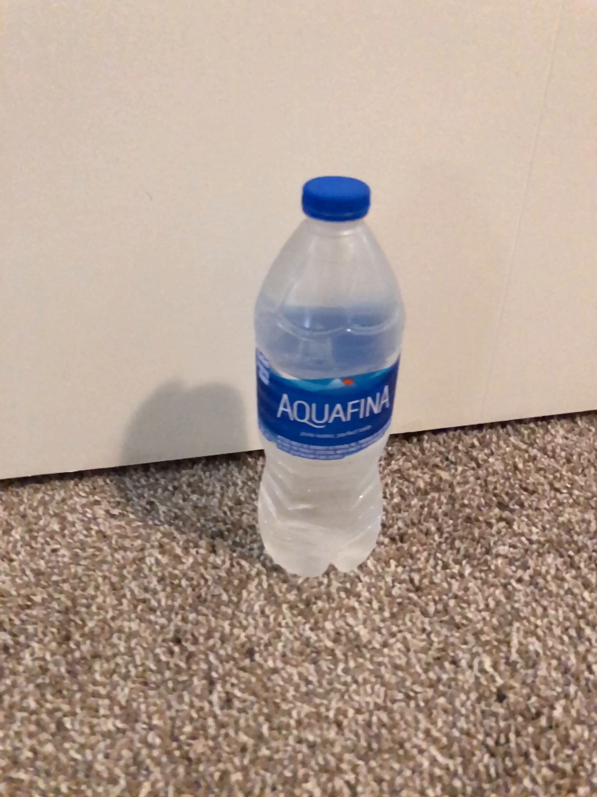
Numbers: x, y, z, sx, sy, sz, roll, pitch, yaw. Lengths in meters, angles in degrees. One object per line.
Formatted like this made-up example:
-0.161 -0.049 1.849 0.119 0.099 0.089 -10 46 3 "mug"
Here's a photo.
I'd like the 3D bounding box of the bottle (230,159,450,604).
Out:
0.011 -0.001 0.302 0.070 0.189 0.070 1 34 0 "bottle"
